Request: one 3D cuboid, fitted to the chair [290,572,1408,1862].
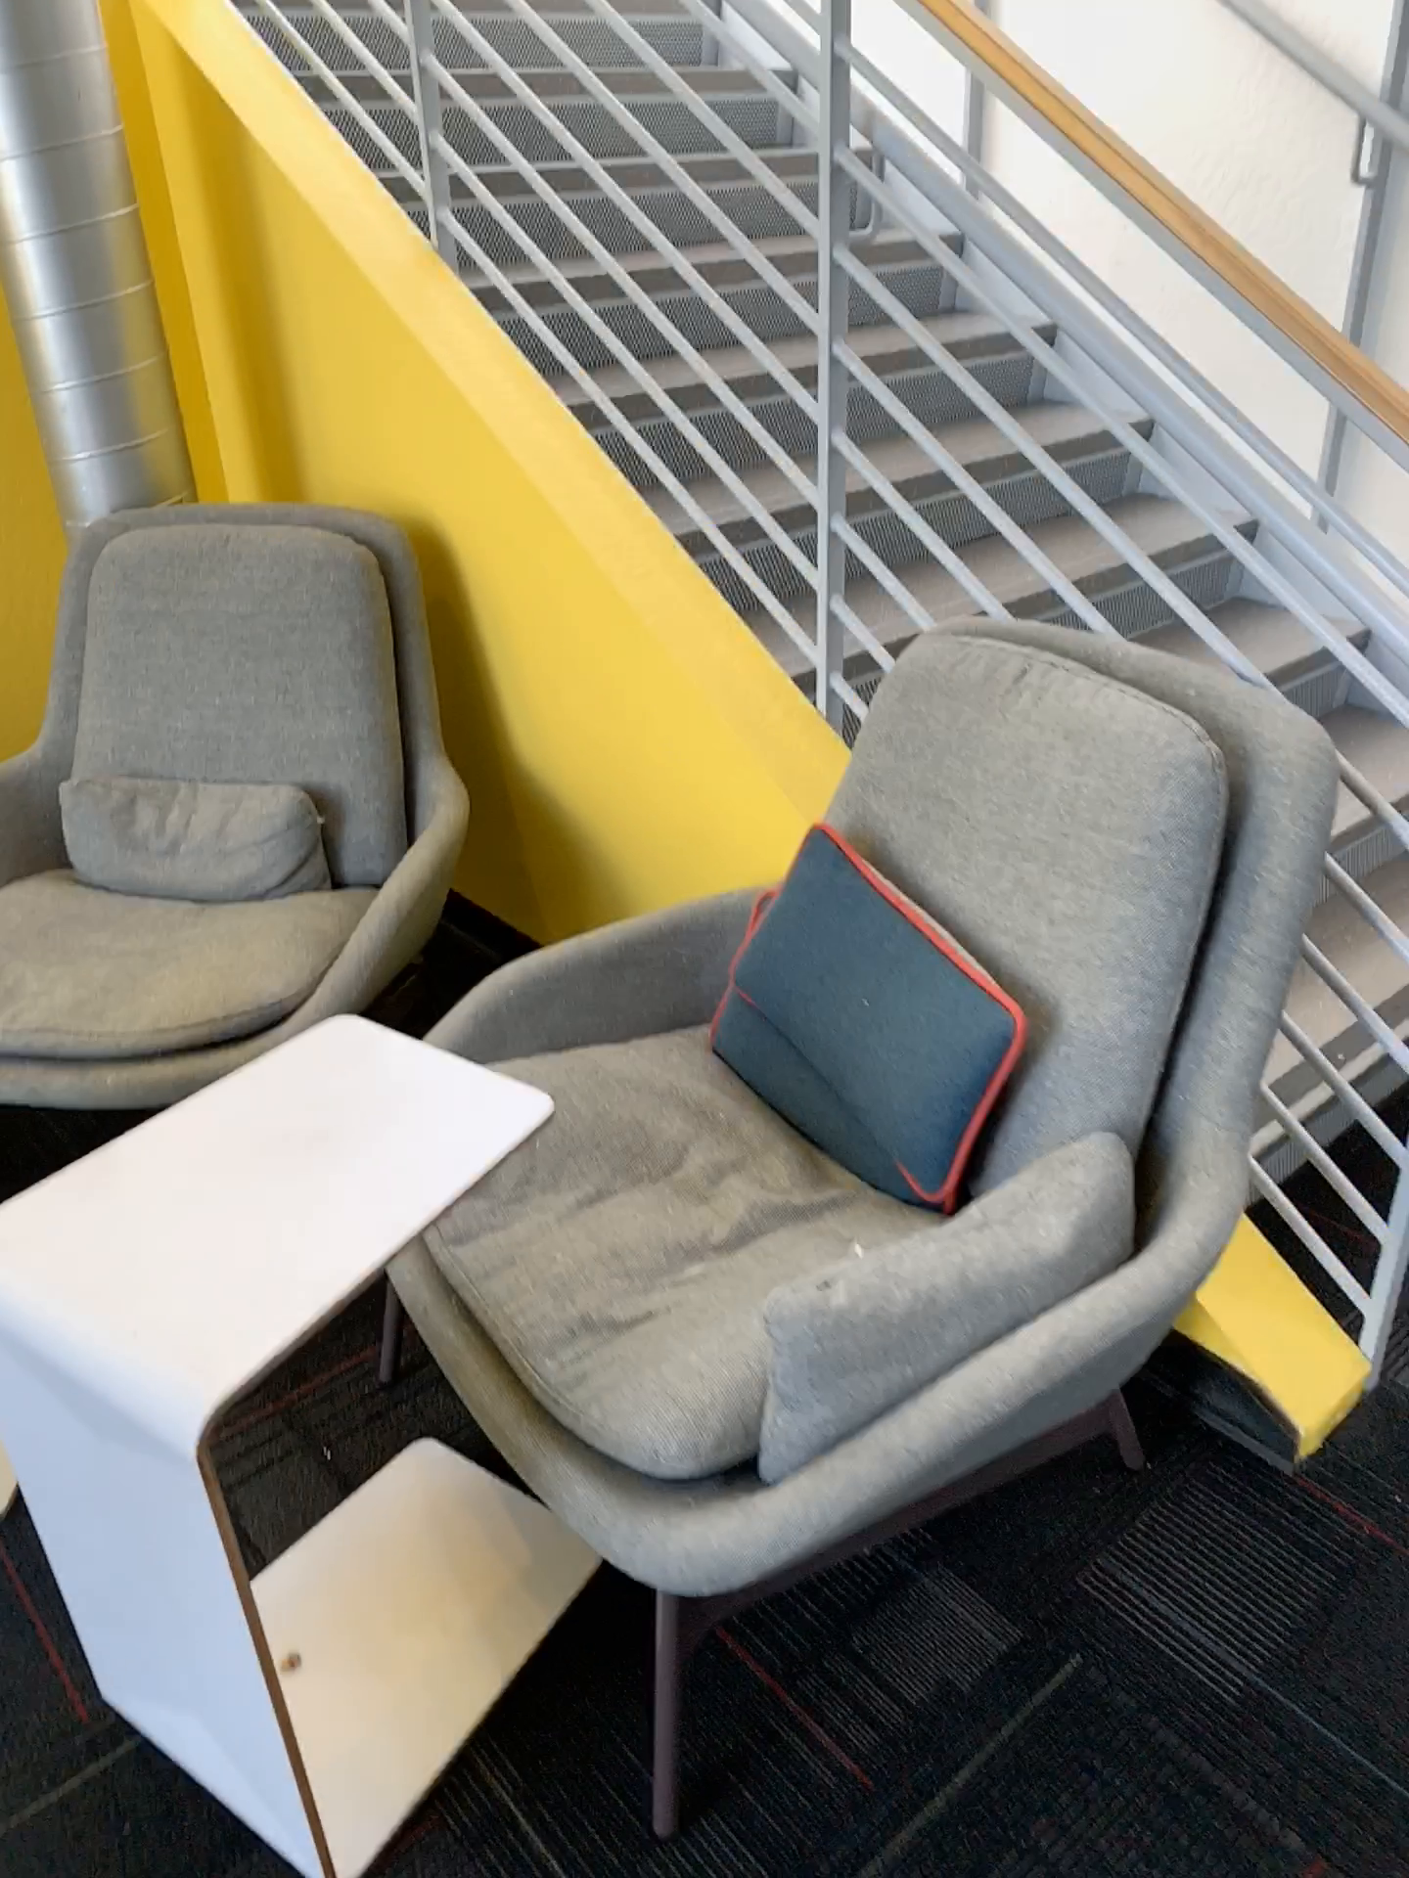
[{"bbox_3d":[0.128,0.179,1.680,0.880,0.945,0.875,-14,30,-26],"label":"chair"}]

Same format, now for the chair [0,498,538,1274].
[{"bbox_3d":[-0.865,-0.138,2.425,0.890,1.015,0.844,1,26,8],"label":"chair"}]
